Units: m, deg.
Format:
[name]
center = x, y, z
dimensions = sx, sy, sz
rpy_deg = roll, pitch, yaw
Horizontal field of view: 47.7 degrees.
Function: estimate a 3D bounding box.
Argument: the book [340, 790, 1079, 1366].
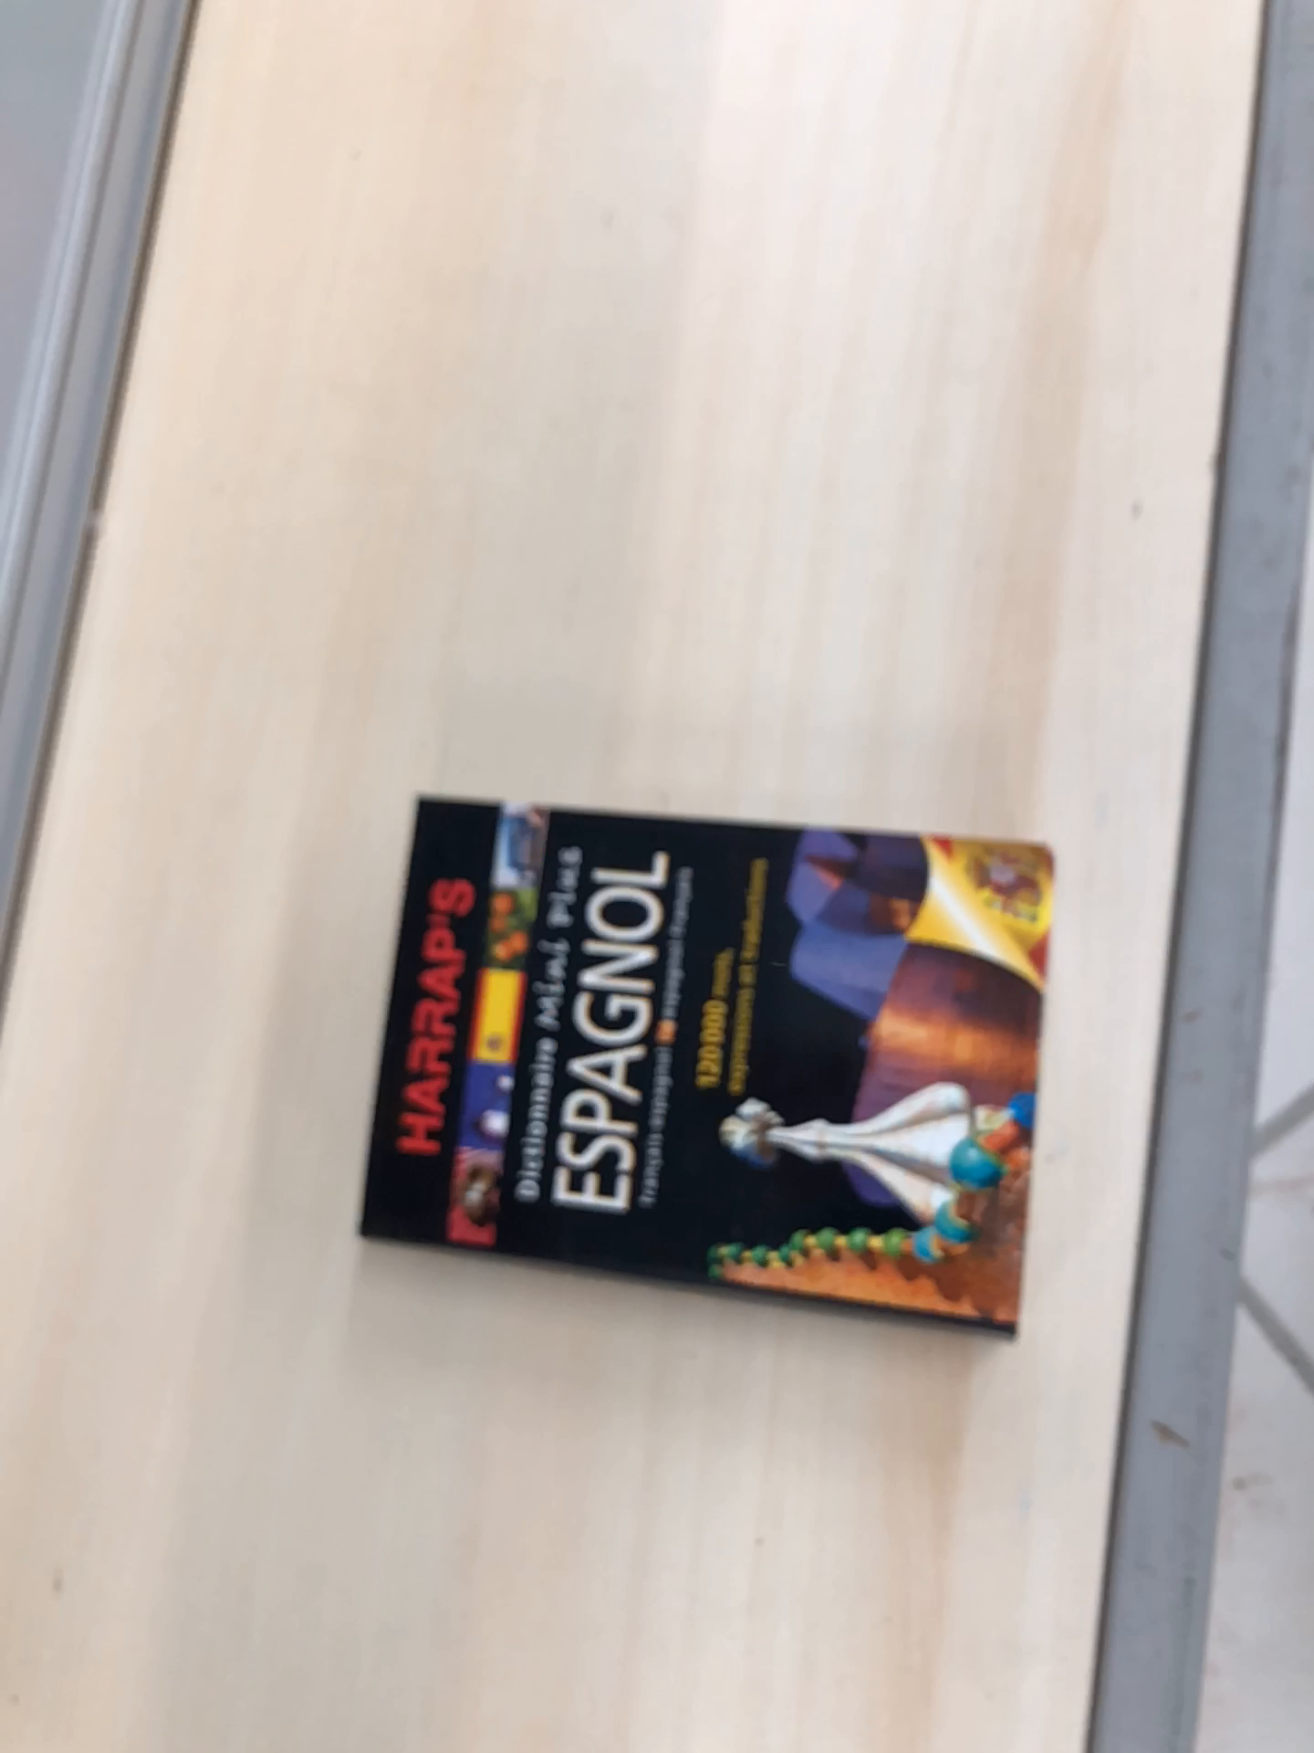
[book]
center = 0.013, 0.041, 0.328
dimensions = 0.145, 0.038, 0.103
rpy_deg = 5, 82, 12
